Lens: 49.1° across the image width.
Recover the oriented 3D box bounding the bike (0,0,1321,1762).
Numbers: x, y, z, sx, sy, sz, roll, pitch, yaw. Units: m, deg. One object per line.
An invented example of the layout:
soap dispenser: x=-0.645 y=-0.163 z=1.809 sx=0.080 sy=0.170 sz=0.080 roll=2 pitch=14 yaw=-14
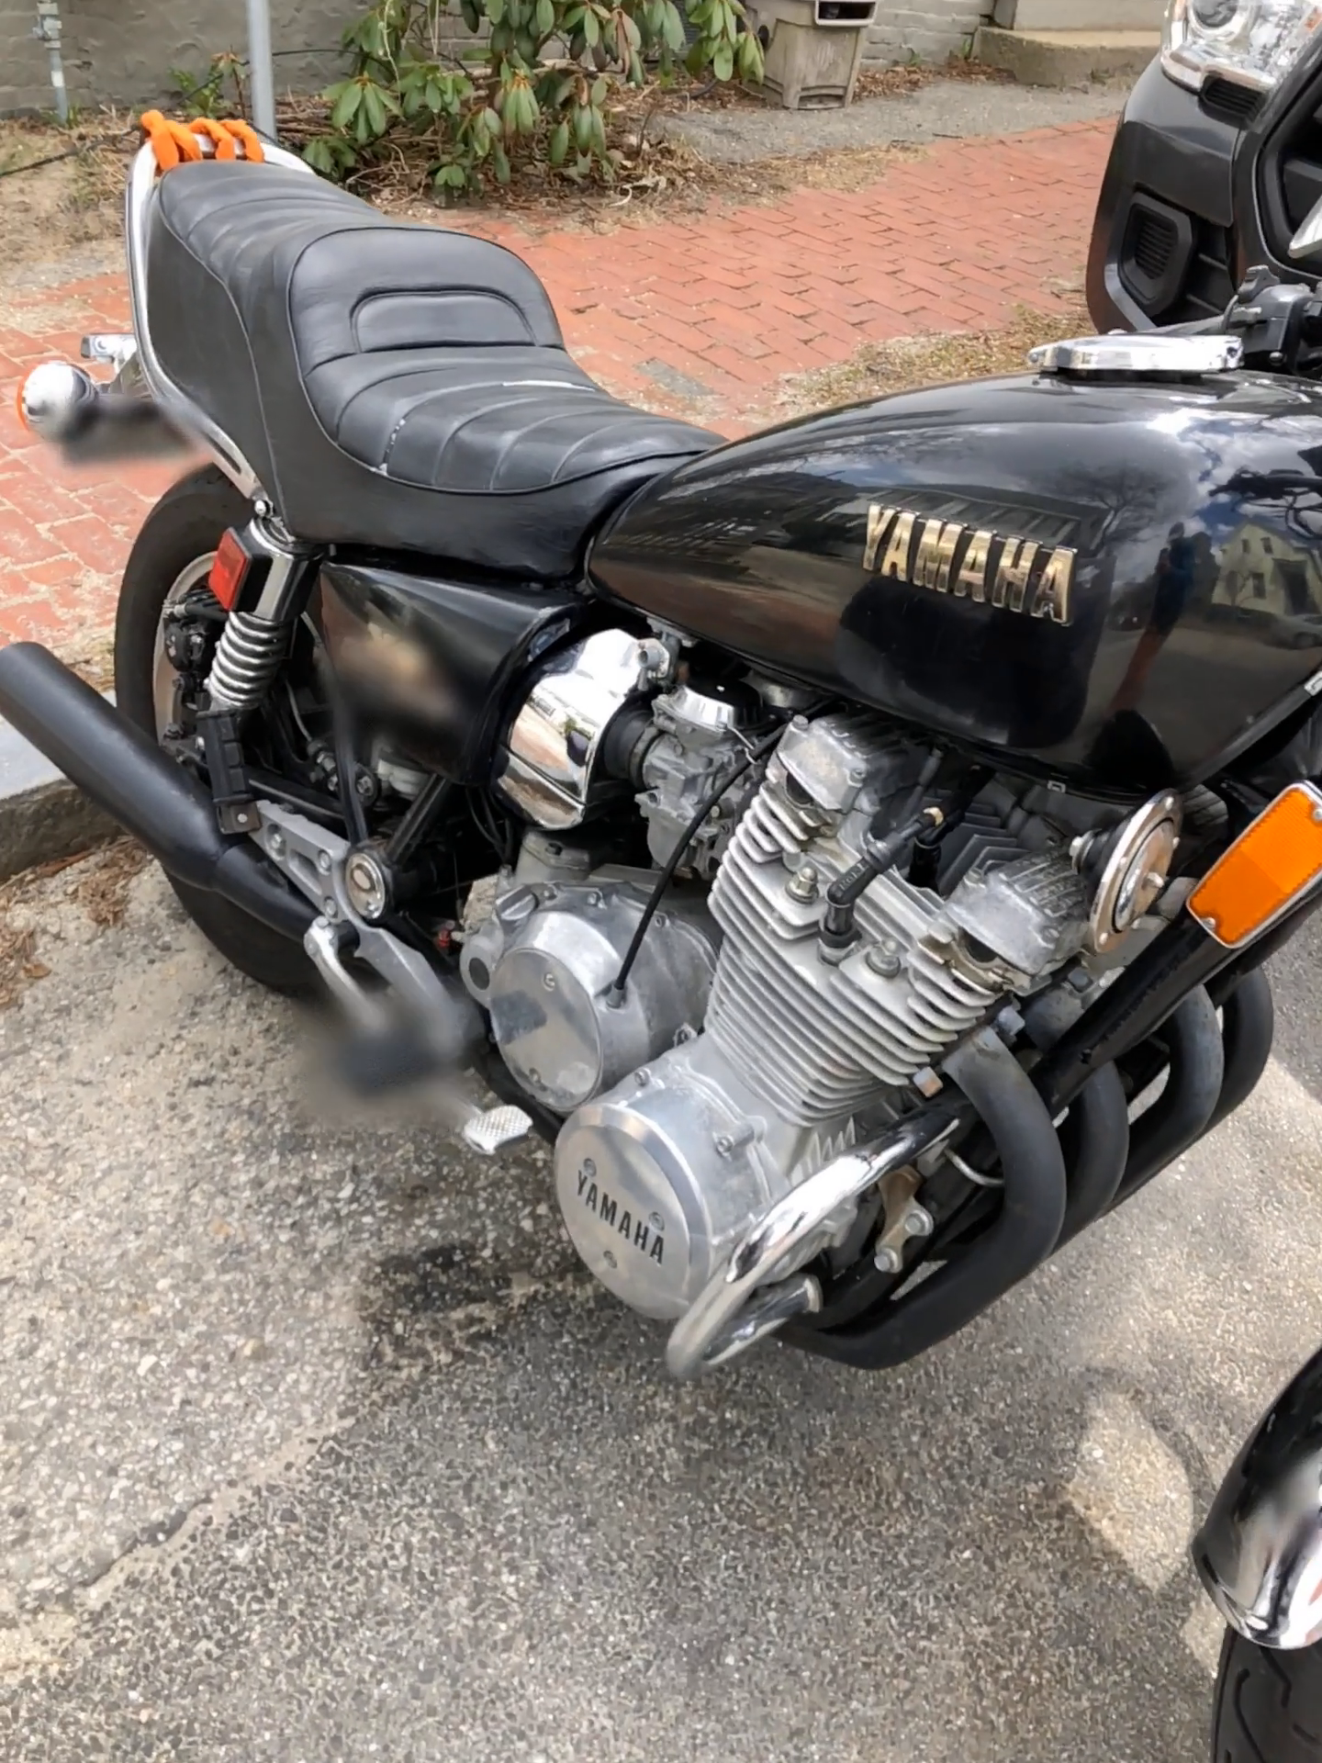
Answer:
bike: x=0.240 y=-0.076 z=1.128 sx=1.969 sy=1.157 sz=0.713 roll=30 pitch=41 yaw=28
